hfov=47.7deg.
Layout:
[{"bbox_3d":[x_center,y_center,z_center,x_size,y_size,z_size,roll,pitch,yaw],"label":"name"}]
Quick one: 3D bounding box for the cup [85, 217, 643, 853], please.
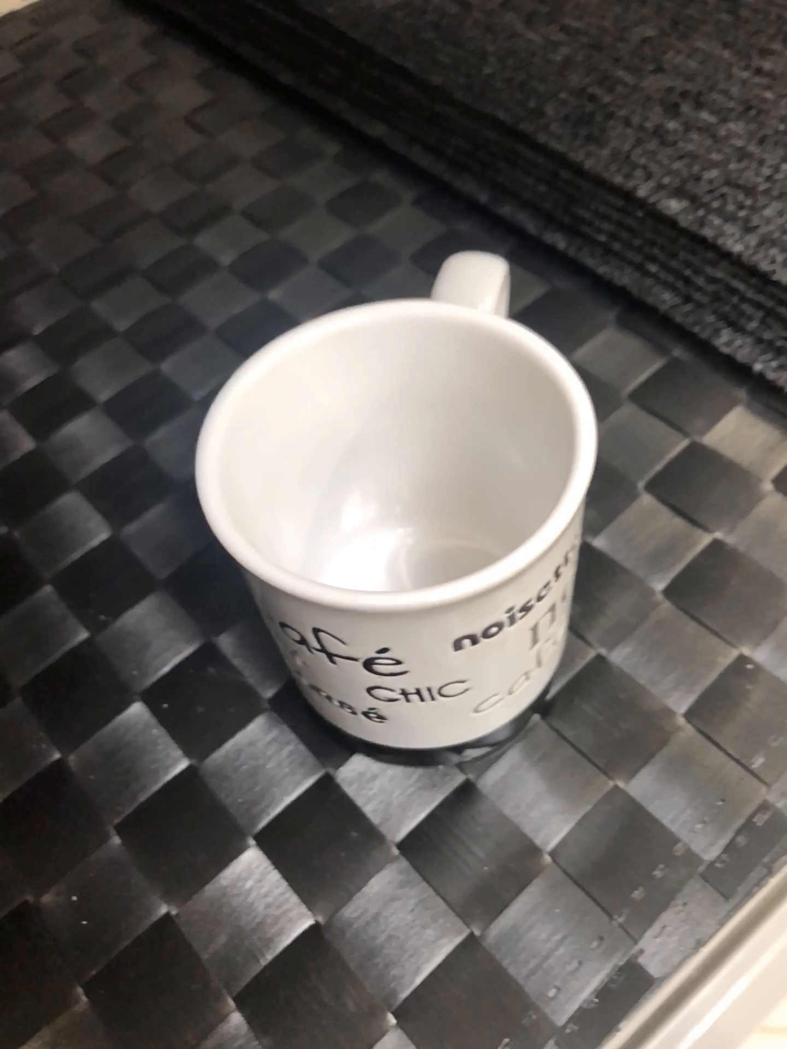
[{"bbox_3d":[0.004,0.000,0.174,0.067,0.066,0.093,11,58,15],"label":"cup"}]
